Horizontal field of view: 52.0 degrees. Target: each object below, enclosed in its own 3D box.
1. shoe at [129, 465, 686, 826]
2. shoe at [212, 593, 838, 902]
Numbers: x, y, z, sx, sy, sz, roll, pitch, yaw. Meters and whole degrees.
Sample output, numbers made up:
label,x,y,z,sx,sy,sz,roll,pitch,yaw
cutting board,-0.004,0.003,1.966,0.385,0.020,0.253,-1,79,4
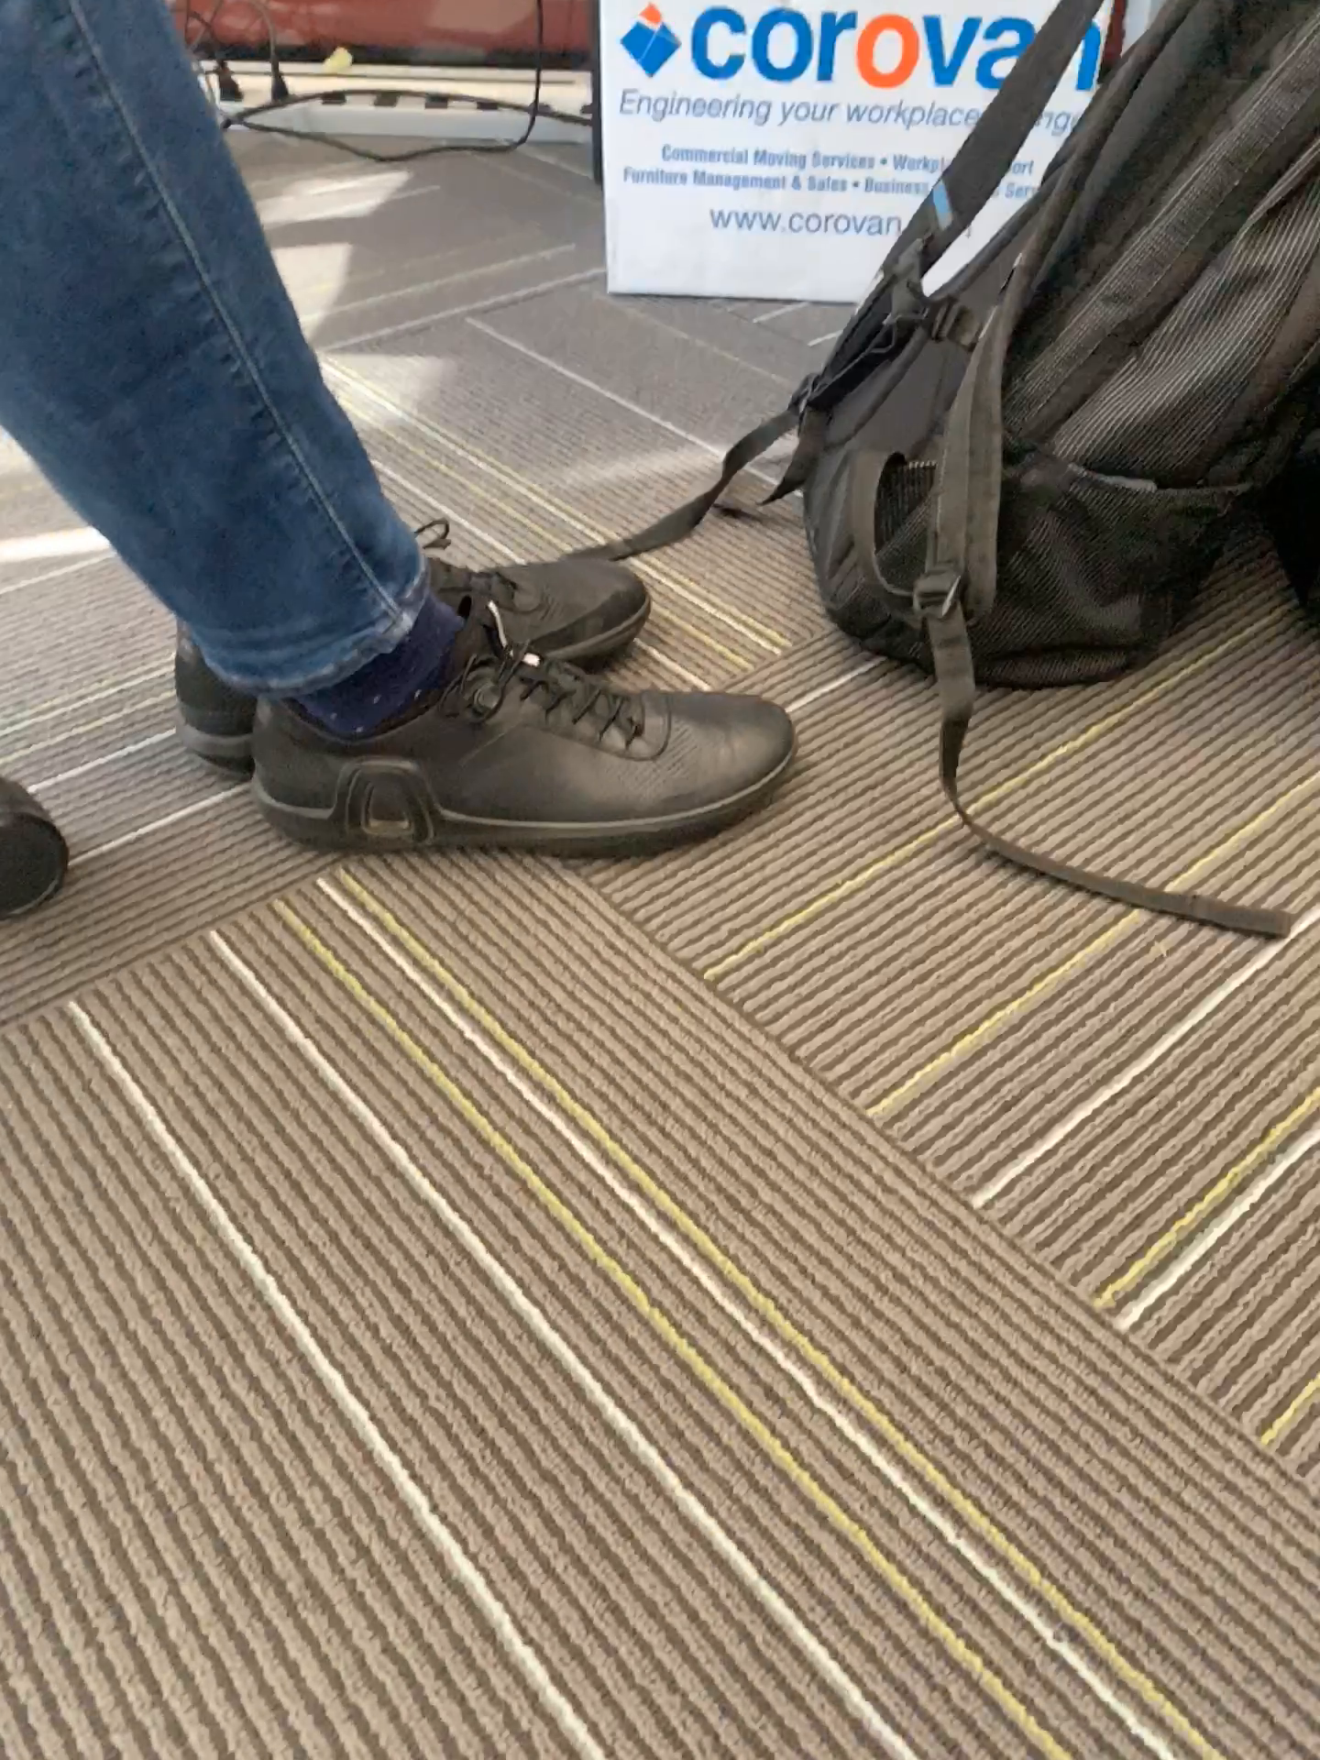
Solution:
label,x,y,z,sx,sy,sz,roll,pitch,yaw
shoe,-0.146,-0.153,0.840,0.310,0.099,0.111,-22,47,-22
shoe,-0.071,-0.075,0.745,0.310,0.099,0.111,-5,43,-6
